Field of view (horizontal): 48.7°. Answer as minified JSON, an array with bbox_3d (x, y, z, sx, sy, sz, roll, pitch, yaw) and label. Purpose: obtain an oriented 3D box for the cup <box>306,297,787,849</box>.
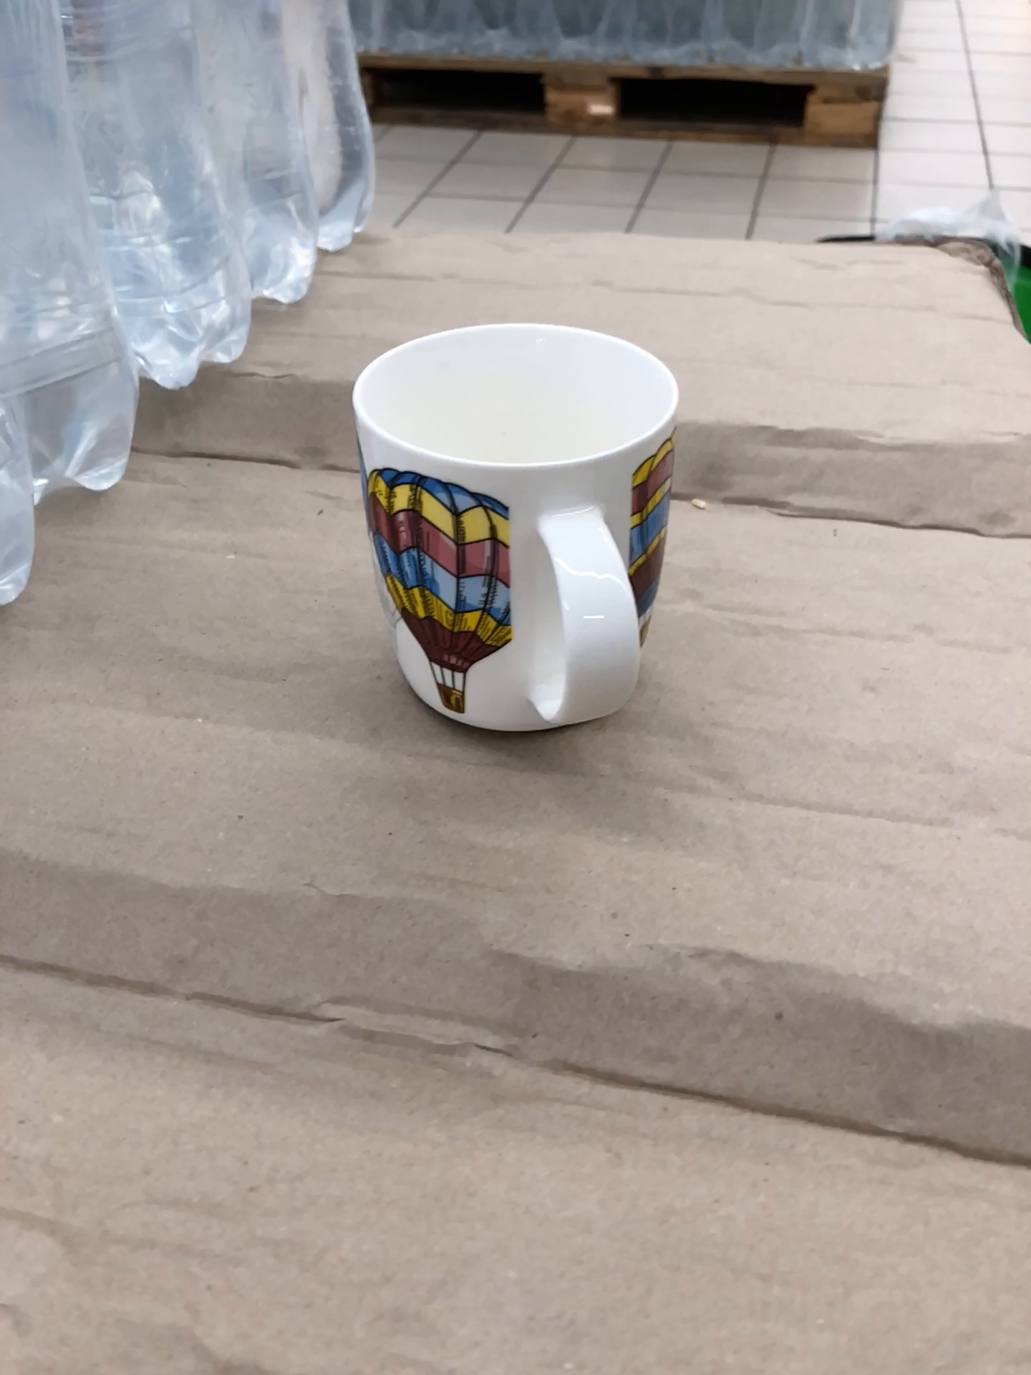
[{"bbox_3d":[0.001,-0.040,0.324,0.093,0.082,0.132,-11,42,-10],"label":"cup"}]
